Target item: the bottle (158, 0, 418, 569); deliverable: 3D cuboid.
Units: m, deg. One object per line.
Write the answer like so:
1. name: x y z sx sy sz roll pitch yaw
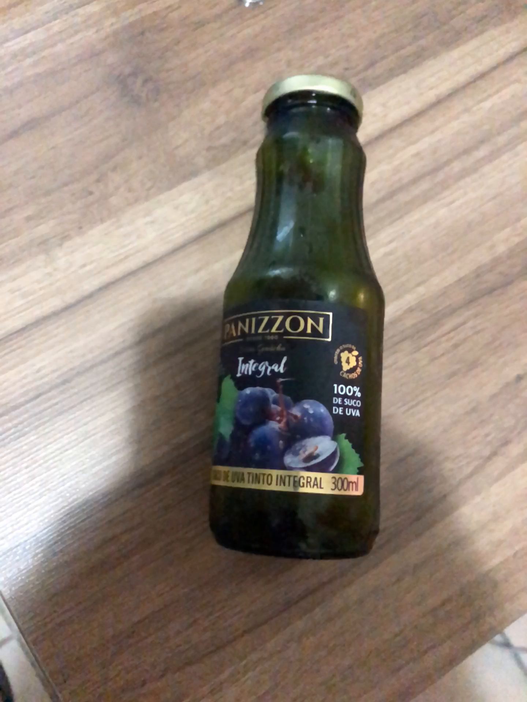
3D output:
1. bottle: 0.016 -0.026 0.240 0.070 0.070 0.200 -2 79 31
